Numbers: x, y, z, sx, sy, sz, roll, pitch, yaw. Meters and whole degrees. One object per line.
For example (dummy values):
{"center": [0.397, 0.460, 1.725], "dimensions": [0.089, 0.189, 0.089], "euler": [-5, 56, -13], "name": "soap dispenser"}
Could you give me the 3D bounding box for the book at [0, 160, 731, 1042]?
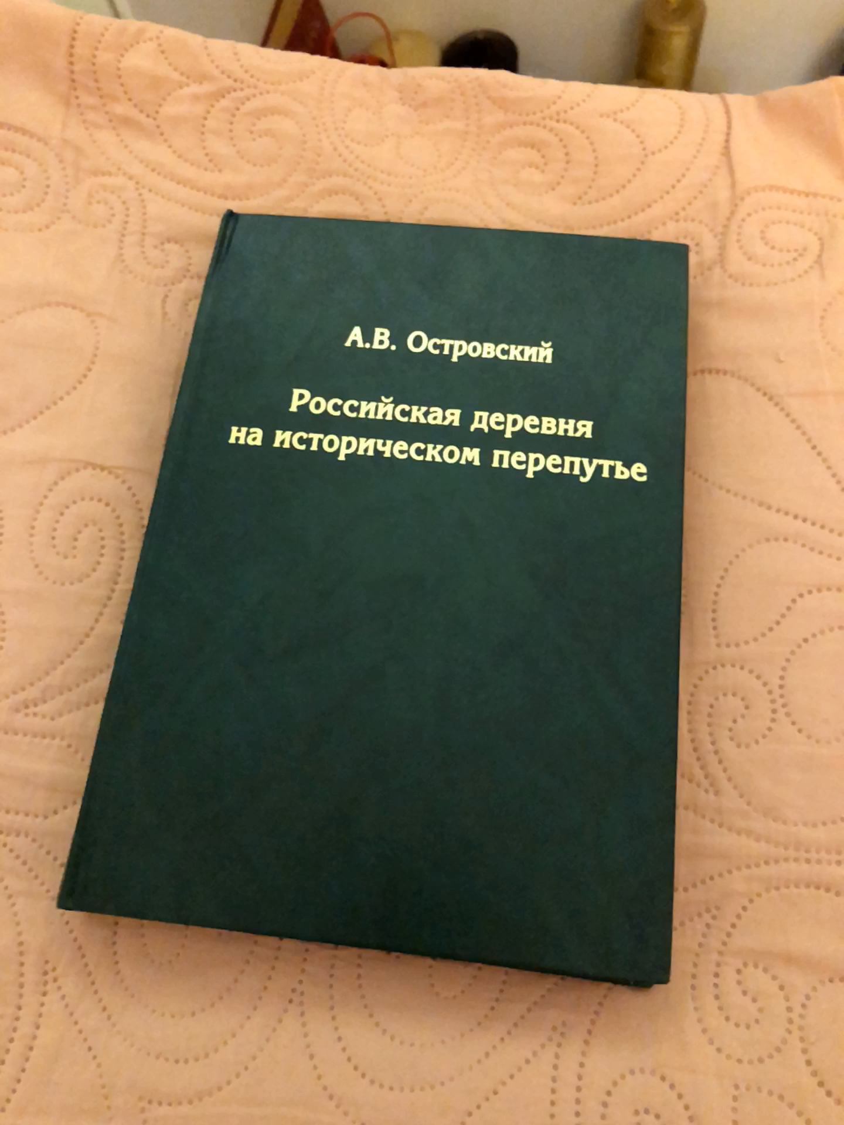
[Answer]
{"center": [-0.006, -0.006, 0.278], "dimensions": [0.180, 0.040, 0.241], "euler": [5, 70, 6], "name": "book"}
